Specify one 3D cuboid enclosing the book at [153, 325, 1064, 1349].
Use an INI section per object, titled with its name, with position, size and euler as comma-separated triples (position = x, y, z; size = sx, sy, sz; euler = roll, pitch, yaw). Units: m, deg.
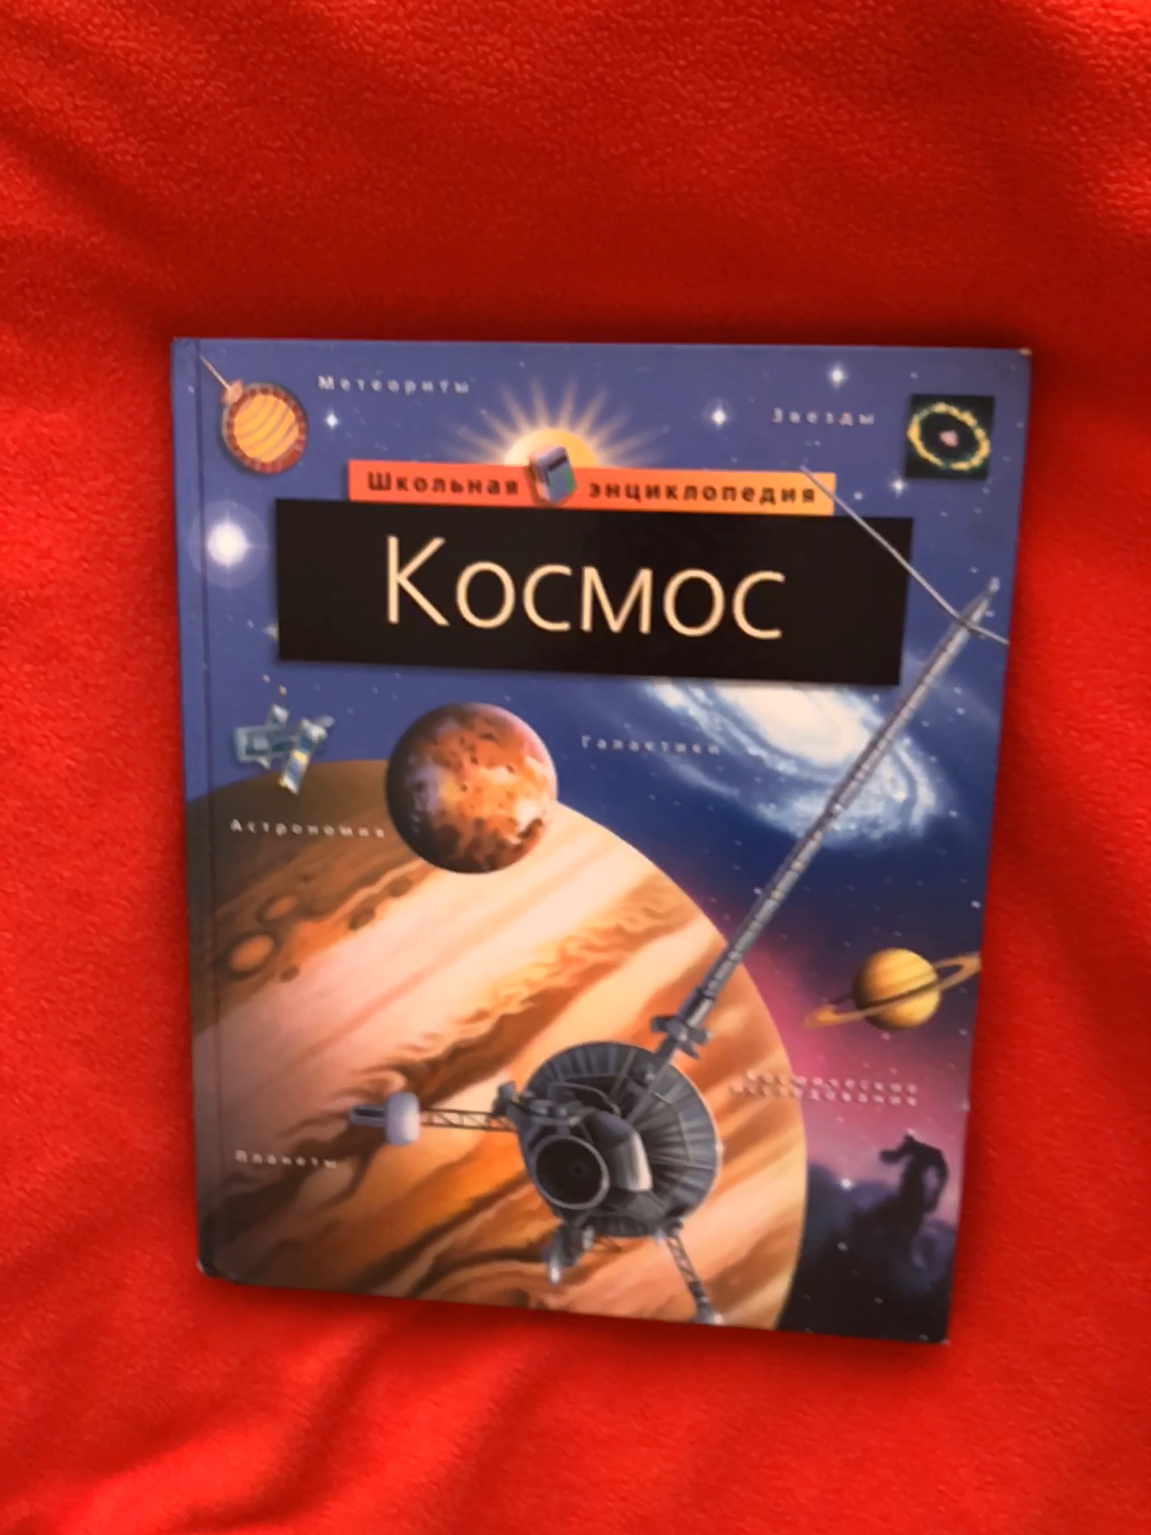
[book]
position = 0.003, 0.023, 0.371
size = 0.235, 0.030, 0.284
euler = 2, 102, 5
